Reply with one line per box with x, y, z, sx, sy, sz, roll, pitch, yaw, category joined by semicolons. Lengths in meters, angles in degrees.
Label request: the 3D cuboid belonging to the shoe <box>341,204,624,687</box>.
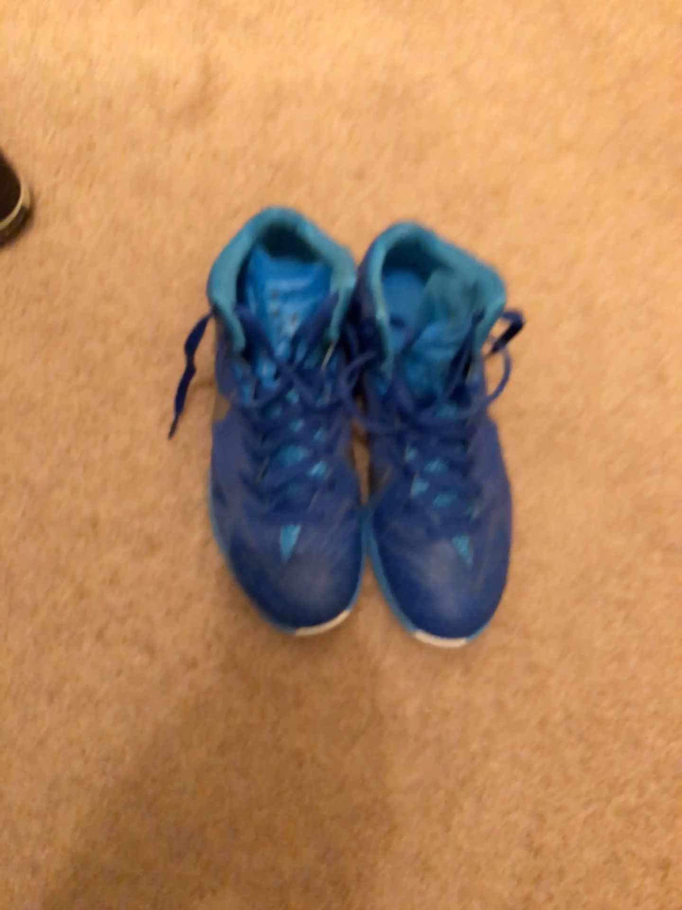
0.080;-0.003;0.515;0.122;0.134;0.280;-6;79;-4;shoe

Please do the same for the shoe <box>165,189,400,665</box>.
-0.041;-0.013;0.511;0.120;0.134;0.278;-4;79;-4;shoe
